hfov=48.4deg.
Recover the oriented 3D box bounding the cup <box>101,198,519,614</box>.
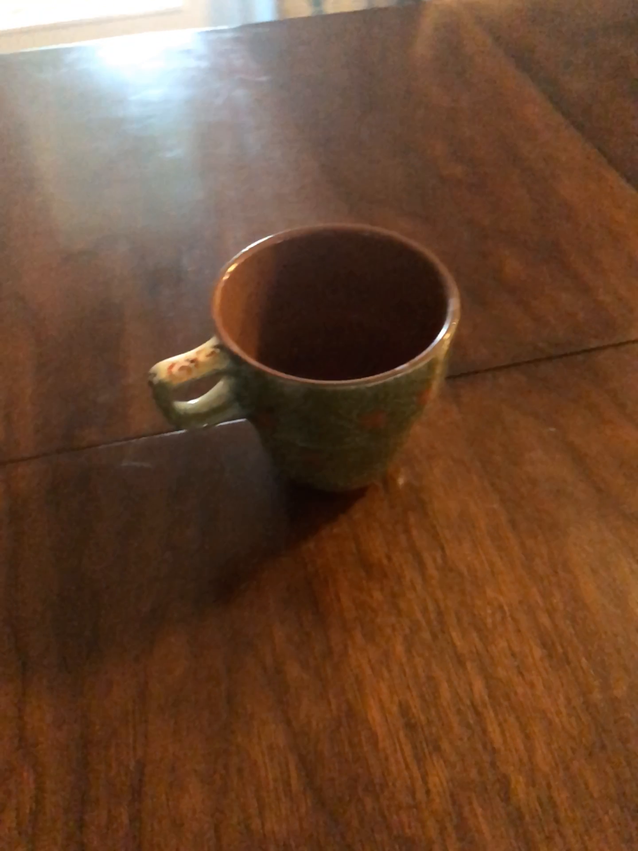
[{"bbox_3d":[-0.006,-0.010,0.313,0.130,0.110,0.100,-21,52,-15],"label":"cup"}]
